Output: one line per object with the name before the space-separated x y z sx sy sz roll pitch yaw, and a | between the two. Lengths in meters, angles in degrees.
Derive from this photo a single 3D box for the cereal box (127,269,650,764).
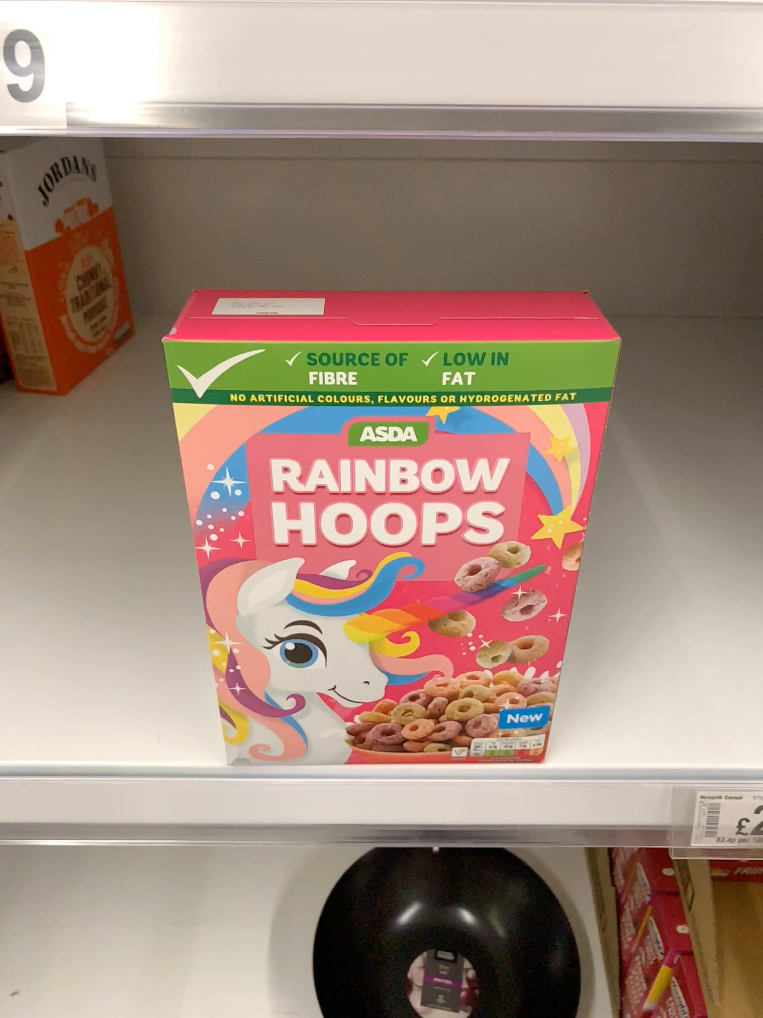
cereal box | 0.002 0.021 0.420 0.210 0.277 0.061 0 34 -1
